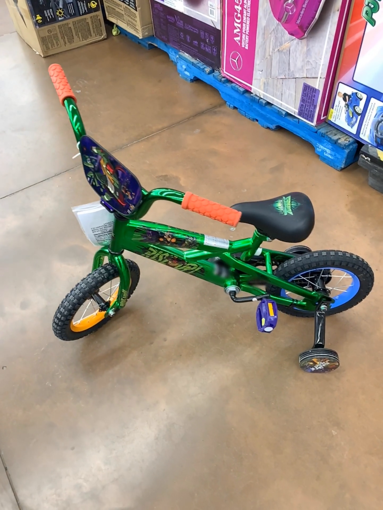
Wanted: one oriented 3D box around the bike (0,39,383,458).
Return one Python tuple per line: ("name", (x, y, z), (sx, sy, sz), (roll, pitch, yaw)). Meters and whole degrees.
("bike", (0.053, 0.018, 0.864), (0.828, 0.677, 0.533), (-4, 49, -1))
